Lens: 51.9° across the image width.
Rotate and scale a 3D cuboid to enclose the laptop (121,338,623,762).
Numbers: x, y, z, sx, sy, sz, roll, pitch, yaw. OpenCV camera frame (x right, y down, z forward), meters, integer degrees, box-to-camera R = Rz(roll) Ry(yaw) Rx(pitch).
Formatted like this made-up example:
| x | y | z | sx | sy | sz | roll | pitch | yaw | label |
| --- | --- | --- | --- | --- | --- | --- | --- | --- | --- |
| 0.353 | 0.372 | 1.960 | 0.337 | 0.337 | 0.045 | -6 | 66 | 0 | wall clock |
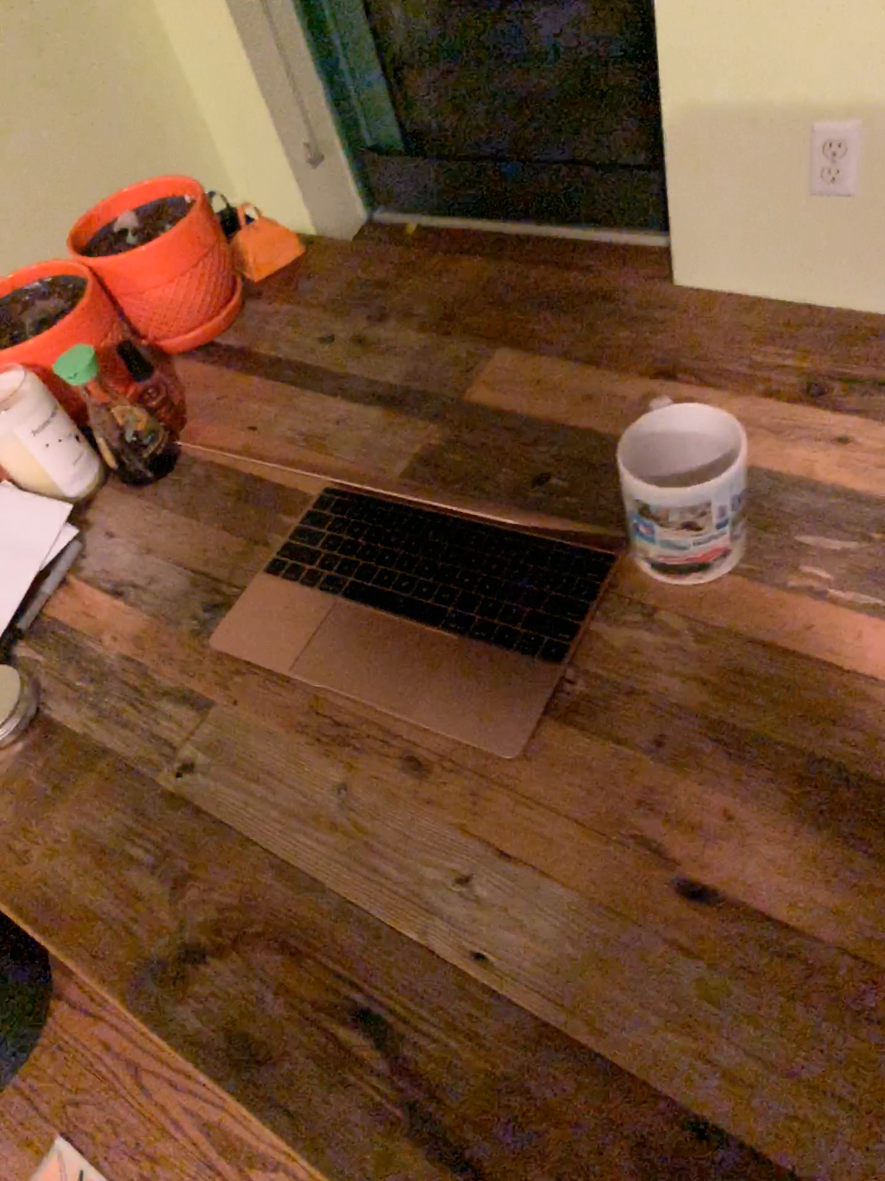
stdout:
| x | y | z | sx | sy | sz | roll | pitch | yaw | label |
| --- | --- | --- | --- | --- | --- | --- | --- | --- | --- |
| -0.043 | -0.042 | 0.653 | 0.279 | 0.145 | 0.194 | 16 | 60 | 29 | laptop |
